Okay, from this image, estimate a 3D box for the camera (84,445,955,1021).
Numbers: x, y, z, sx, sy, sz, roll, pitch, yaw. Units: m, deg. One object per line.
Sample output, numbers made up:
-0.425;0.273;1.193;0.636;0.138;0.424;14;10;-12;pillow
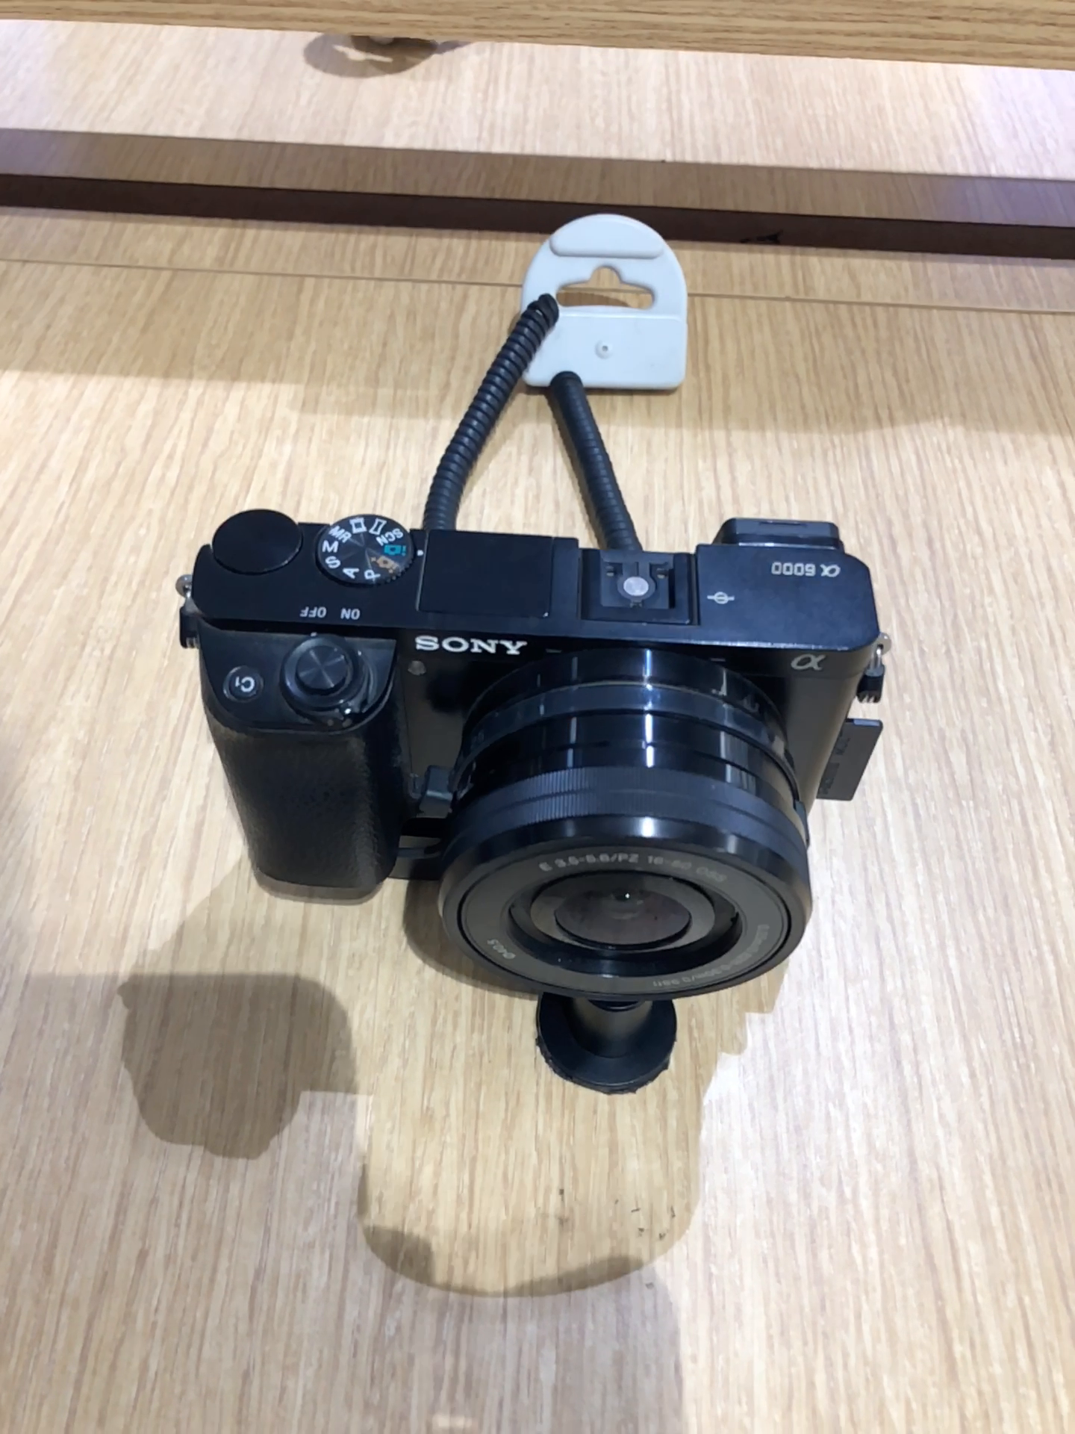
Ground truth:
-0.002;0.005;0.193;0.107;0.070;0.059;2;52;-1;camera
